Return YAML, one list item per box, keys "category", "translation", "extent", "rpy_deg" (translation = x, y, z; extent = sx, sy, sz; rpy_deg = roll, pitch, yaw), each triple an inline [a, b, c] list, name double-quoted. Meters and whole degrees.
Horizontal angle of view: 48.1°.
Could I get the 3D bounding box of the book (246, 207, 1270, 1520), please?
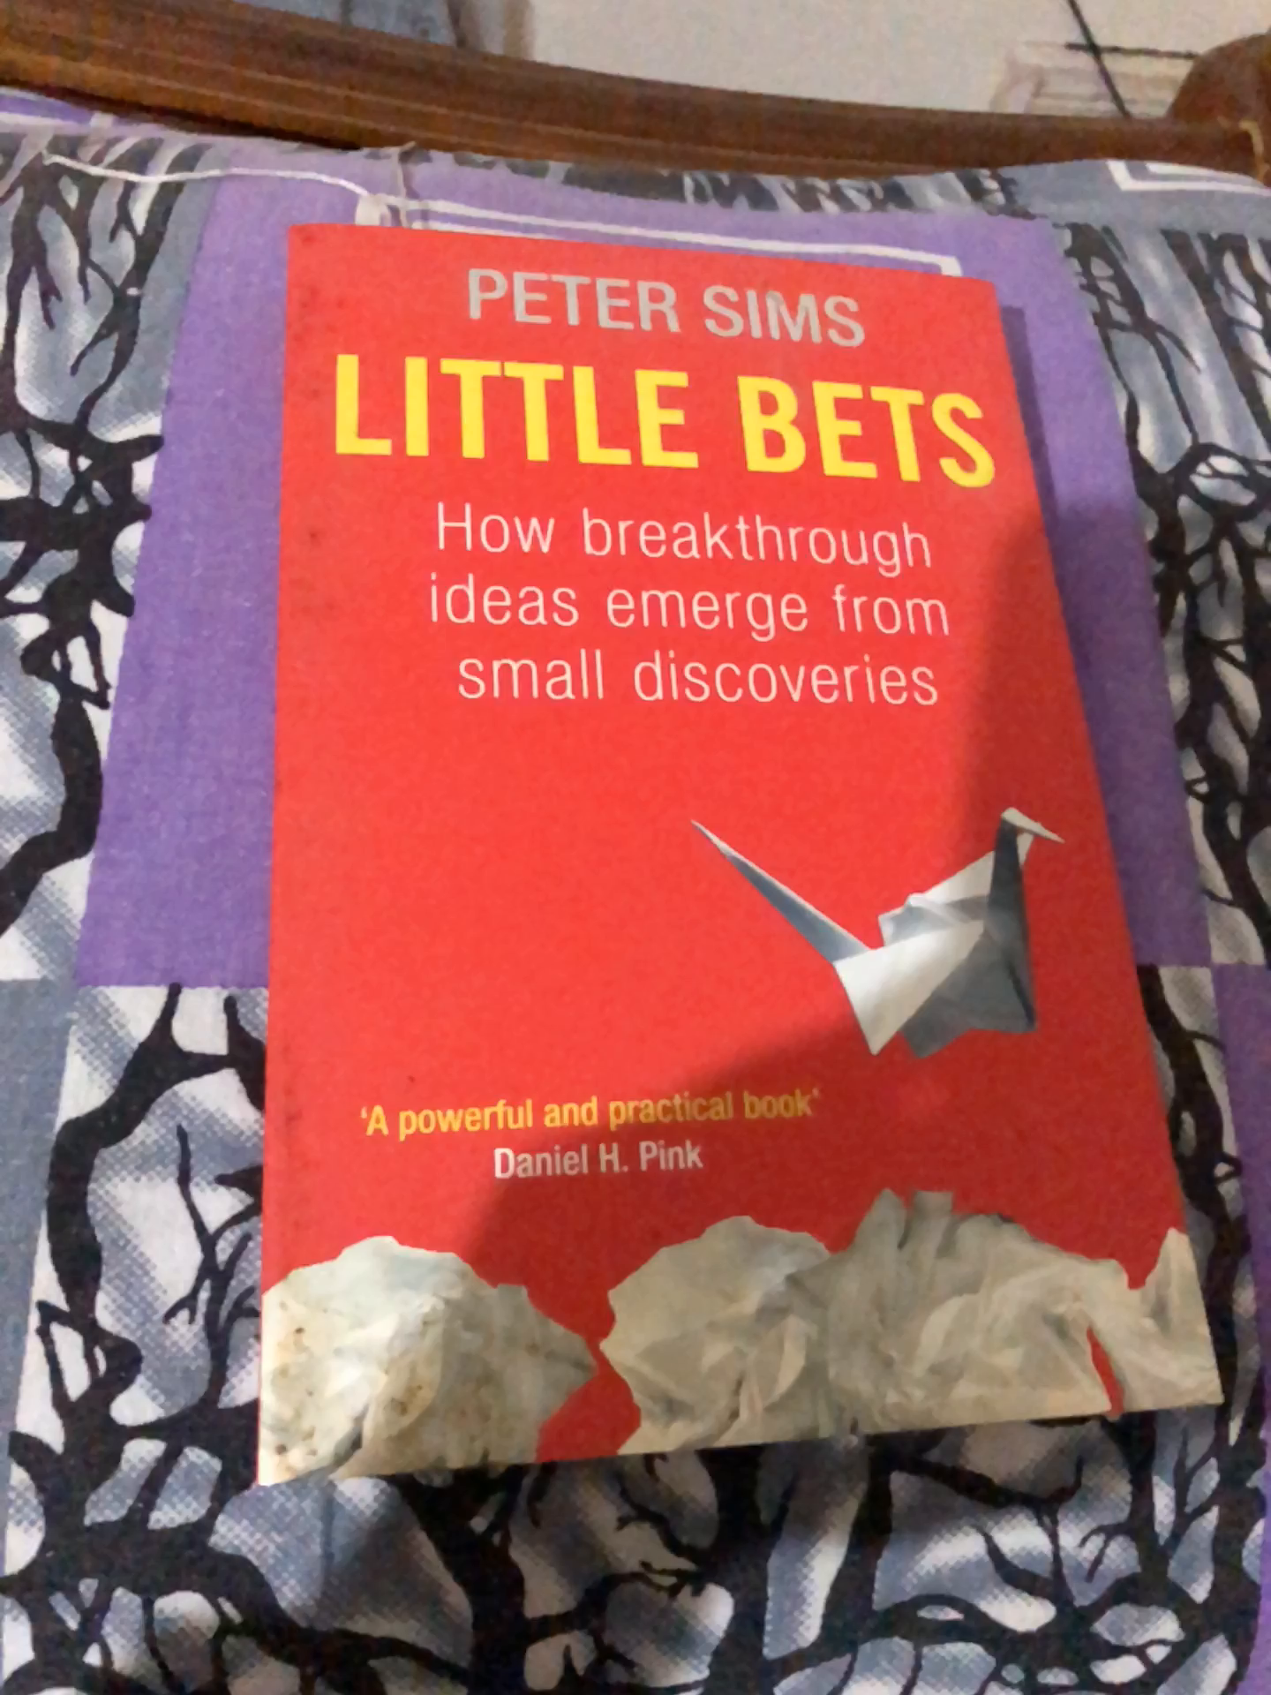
- category: "book"
  translation: [0.013, -0.017, 0.259]
  extent: [0.150, 0.020, 0.240]
  rpy_deg: [-1, 66, -9]
